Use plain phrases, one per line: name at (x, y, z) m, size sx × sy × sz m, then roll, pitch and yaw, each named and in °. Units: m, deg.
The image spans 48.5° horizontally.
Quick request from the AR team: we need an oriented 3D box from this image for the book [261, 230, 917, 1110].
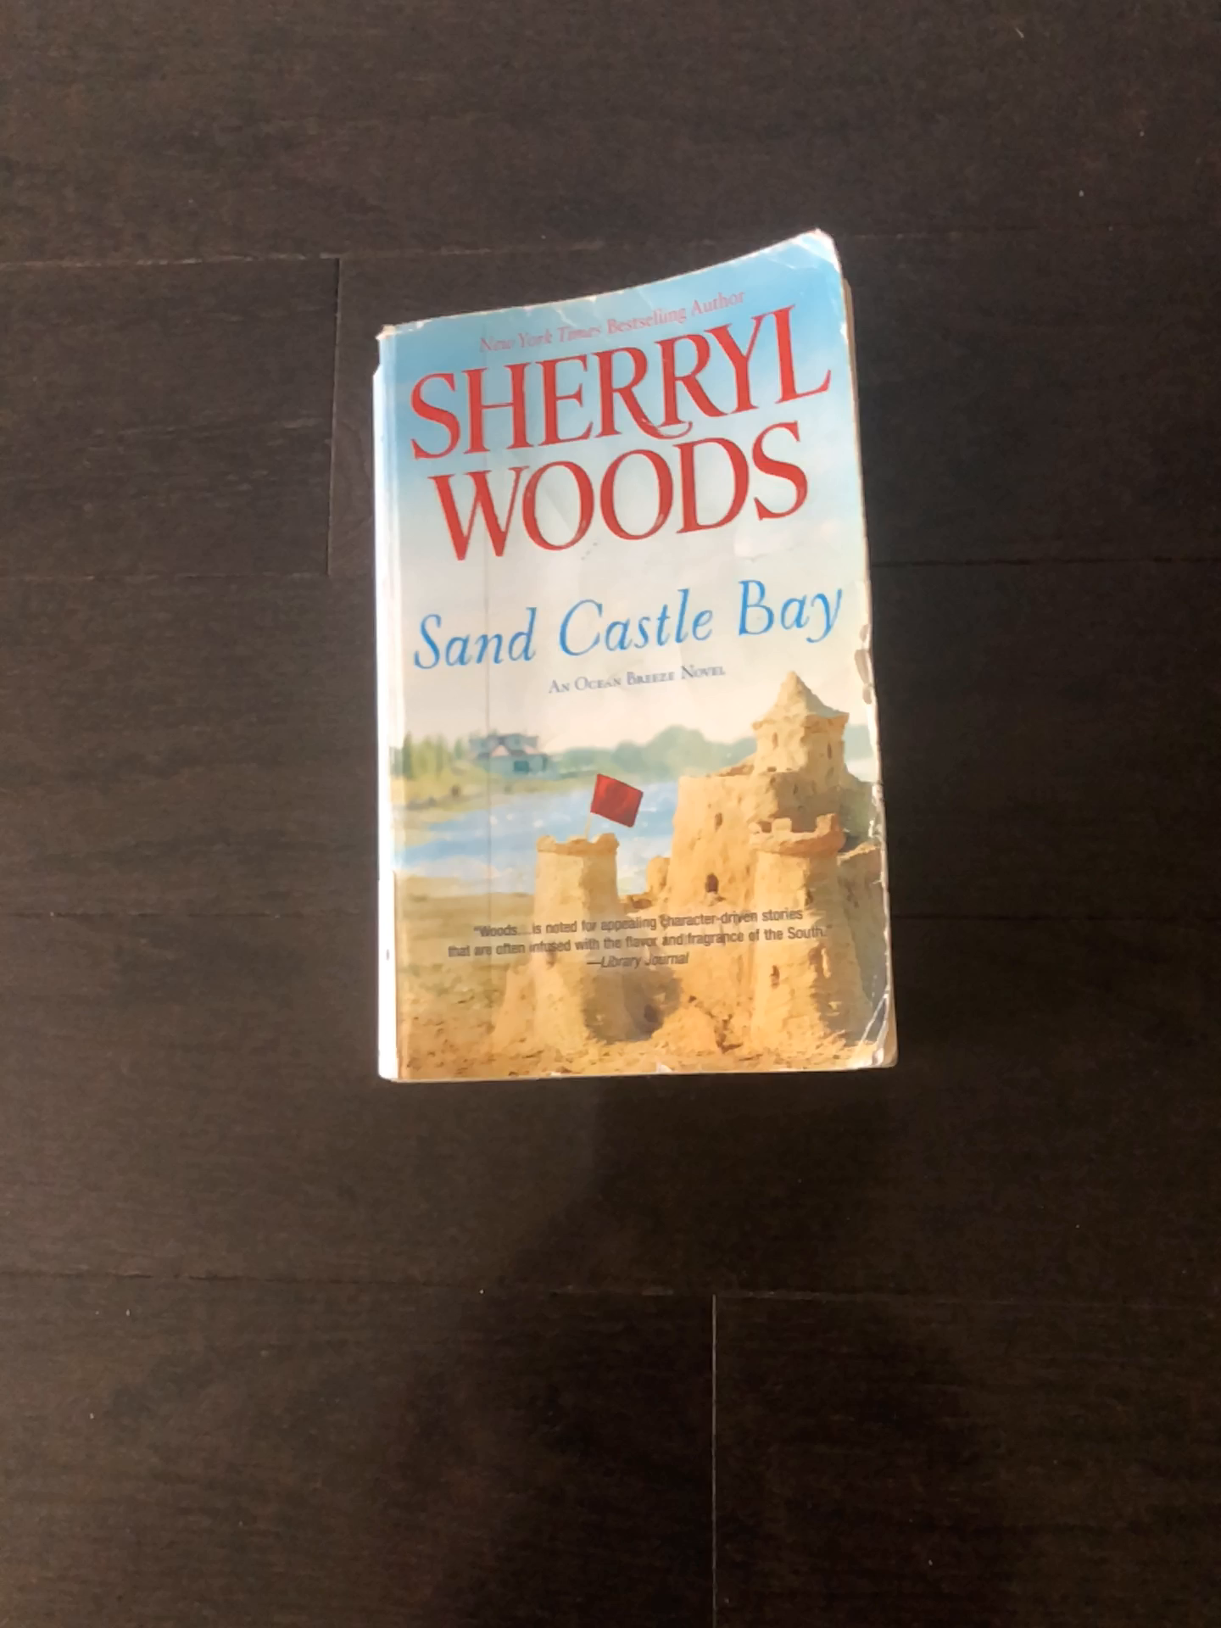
book at (-0.005, -0.026, 0.277) m, size 0.119 × 0.037 × 0.161 m, roll -3°, pitch 85°, yaw 8°
